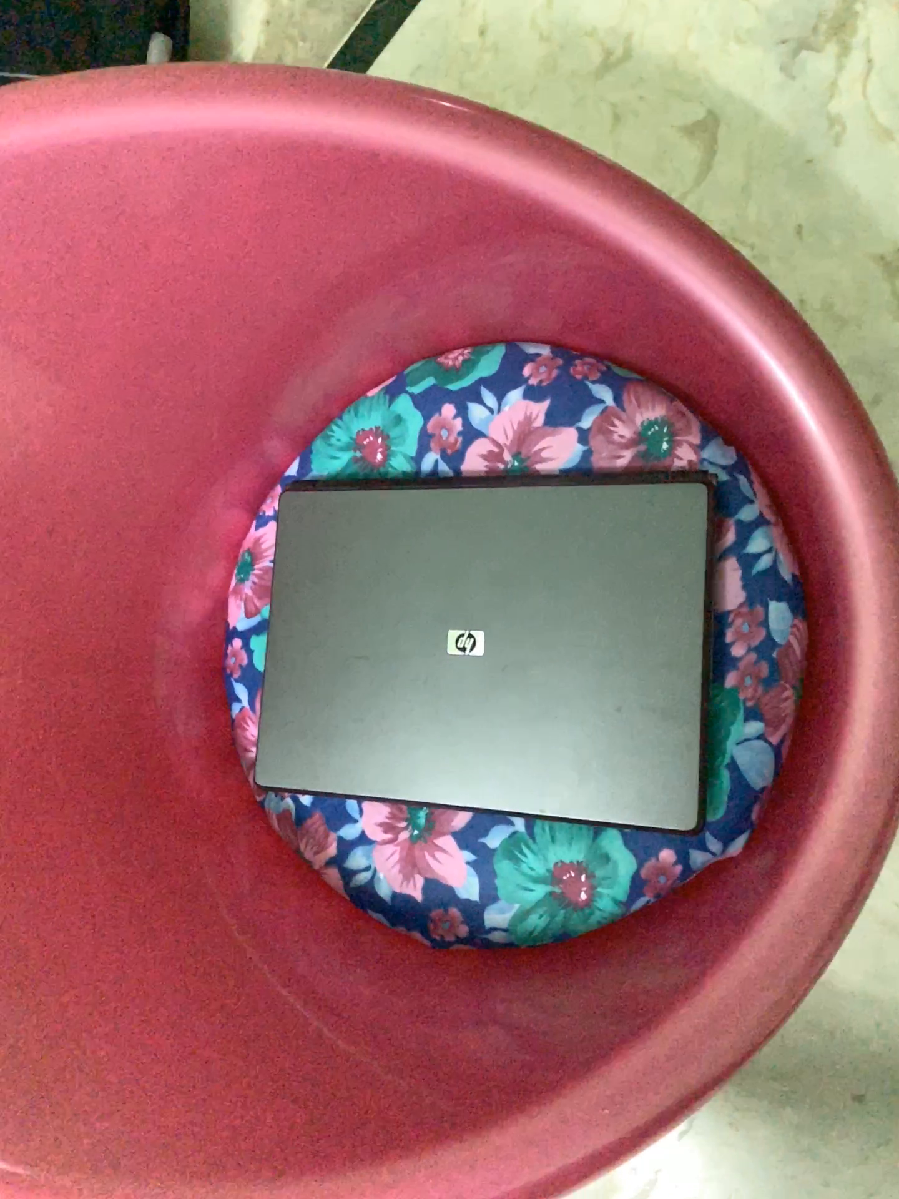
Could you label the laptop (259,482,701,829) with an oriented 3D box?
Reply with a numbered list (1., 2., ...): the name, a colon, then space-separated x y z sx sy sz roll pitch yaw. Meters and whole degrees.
1. laptop: 0.014 0.030 0.631 0.304 0.003 0.222 1 84 17
